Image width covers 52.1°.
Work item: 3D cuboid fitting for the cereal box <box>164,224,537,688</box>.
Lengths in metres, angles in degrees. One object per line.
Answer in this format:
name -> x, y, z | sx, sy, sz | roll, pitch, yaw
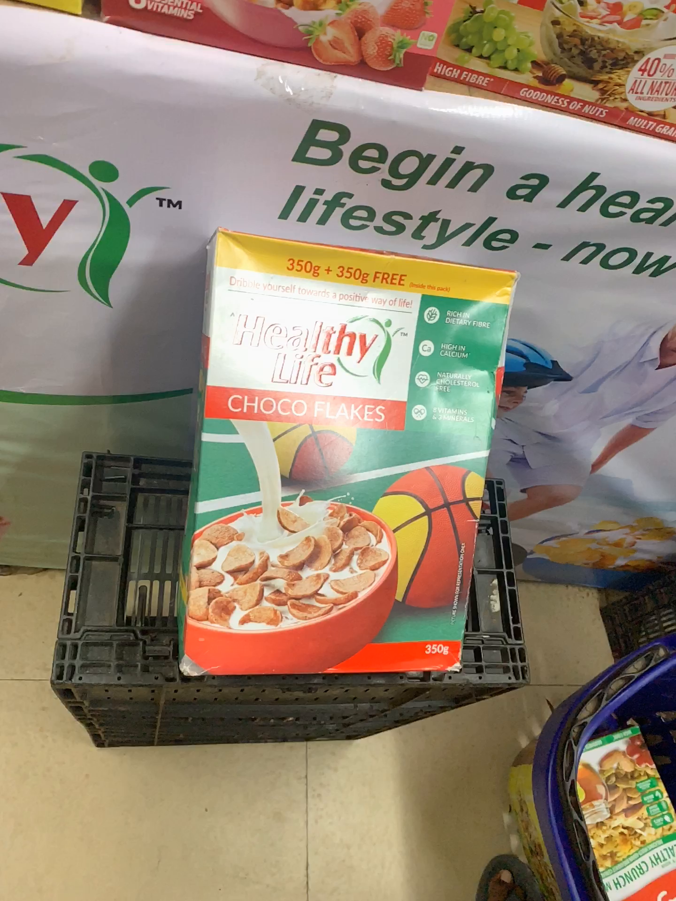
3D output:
cereal box -> -0.003, 0.009, 0.475 | 0.210, 0.090, 0.280 | 3, 101, -14
